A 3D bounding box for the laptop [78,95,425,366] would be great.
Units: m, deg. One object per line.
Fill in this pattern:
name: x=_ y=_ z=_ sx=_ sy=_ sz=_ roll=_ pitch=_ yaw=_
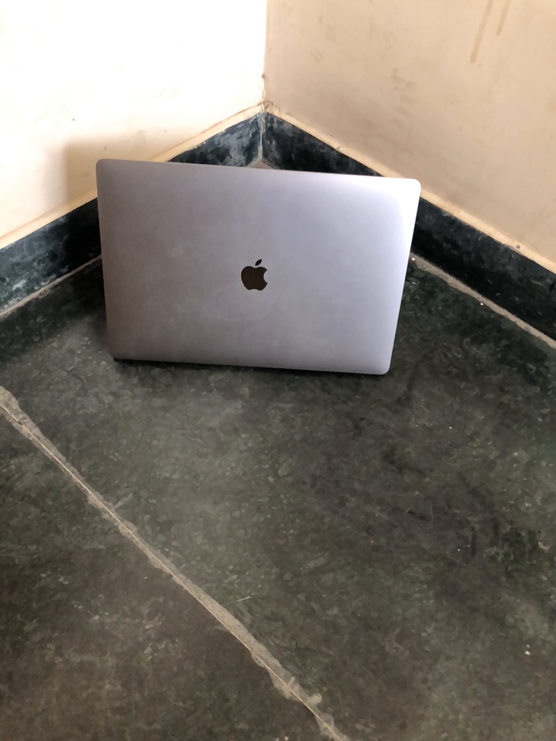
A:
laptop: x=-0.026 y=-0.163 z=0.720 sx=0.329 sy=0.198 sz=0.222 roll=4 pitch=54 yaw=1
